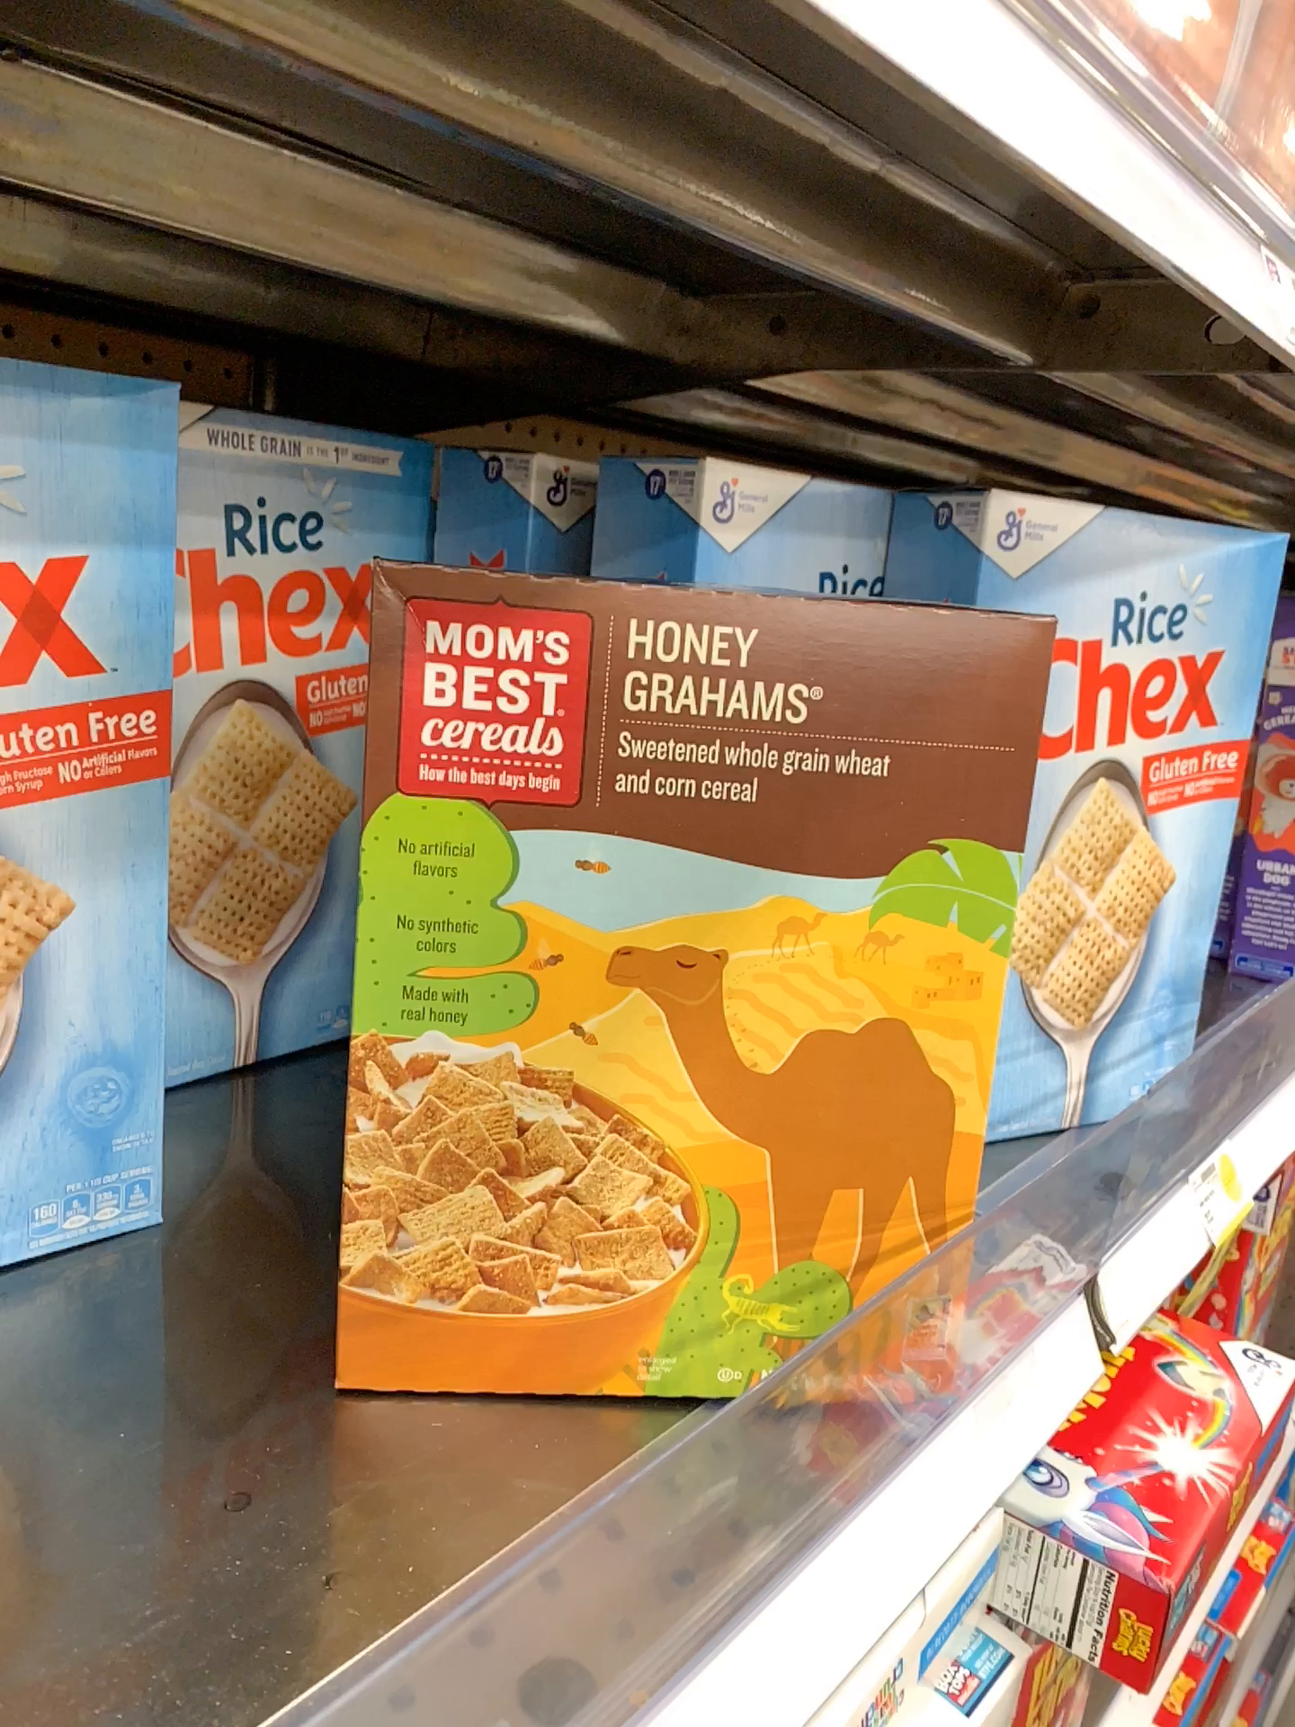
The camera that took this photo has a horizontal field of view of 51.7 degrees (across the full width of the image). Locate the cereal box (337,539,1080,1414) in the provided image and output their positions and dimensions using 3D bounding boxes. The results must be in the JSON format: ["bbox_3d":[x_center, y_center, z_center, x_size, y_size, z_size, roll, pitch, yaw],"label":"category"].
[{"bbox_3d":[0.012,0.040,0.422,0.200,0.259,0.050,3,11,-6],"label":"cereal box"}]
